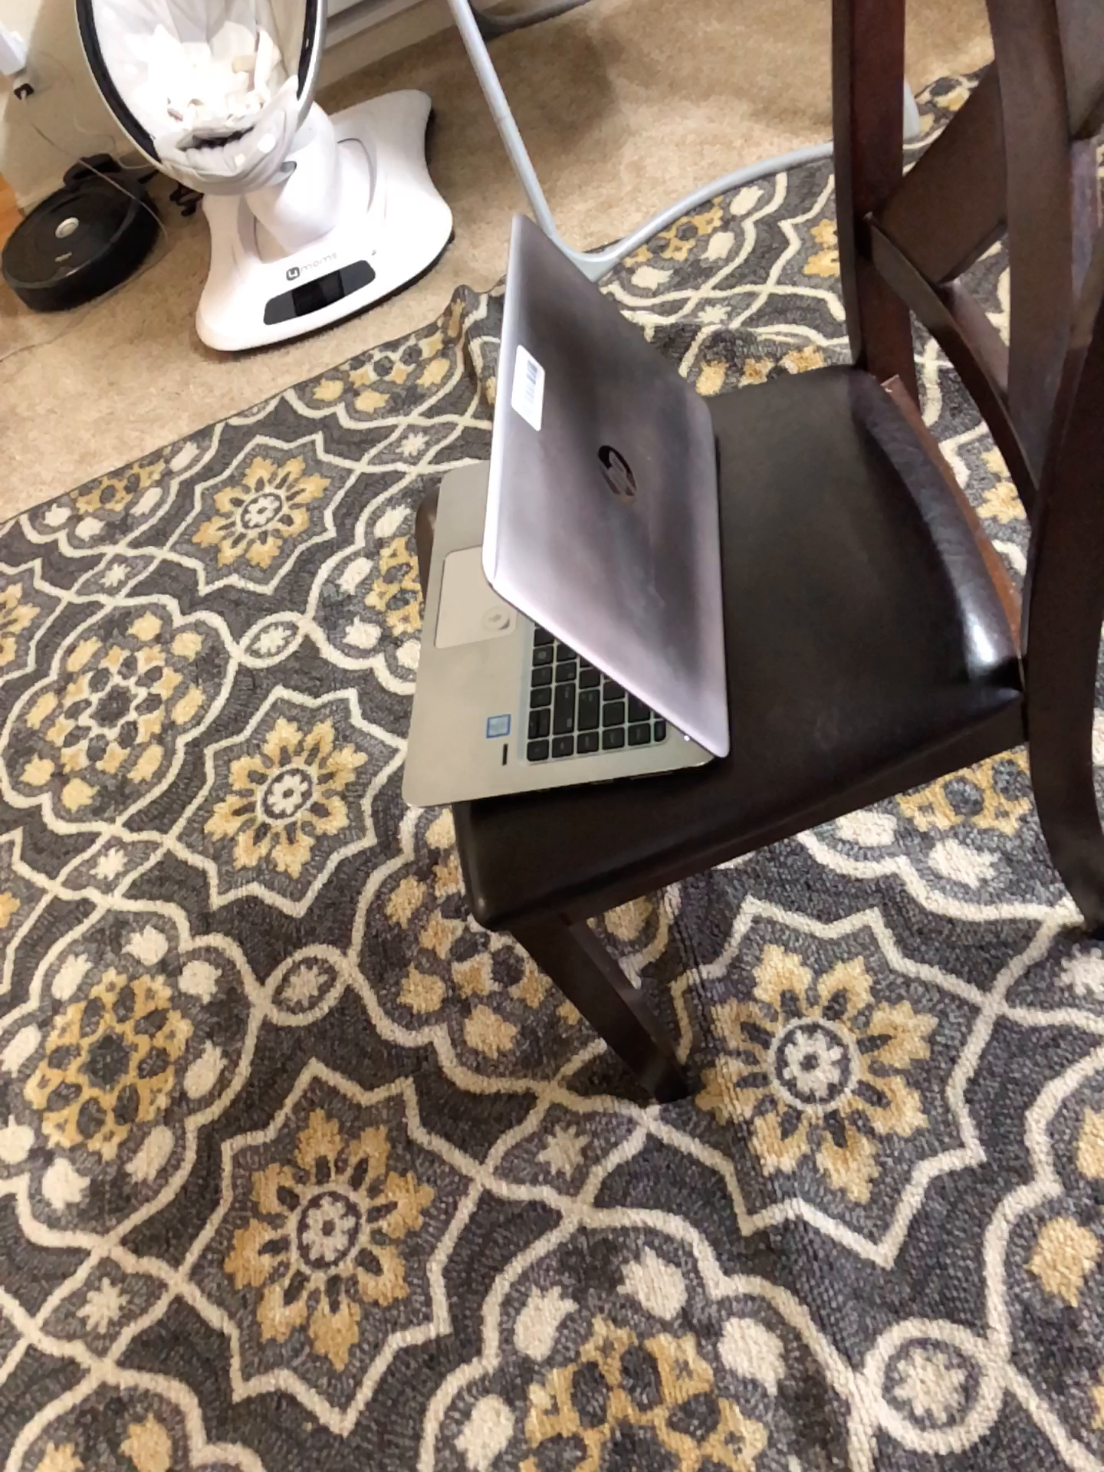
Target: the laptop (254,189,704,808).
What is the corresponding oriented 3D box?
[{"bbox_3d":[-0.030,-0.152,0.804,0.212,0.193,0.323,-9,56,18],"label":"laptop"}]
